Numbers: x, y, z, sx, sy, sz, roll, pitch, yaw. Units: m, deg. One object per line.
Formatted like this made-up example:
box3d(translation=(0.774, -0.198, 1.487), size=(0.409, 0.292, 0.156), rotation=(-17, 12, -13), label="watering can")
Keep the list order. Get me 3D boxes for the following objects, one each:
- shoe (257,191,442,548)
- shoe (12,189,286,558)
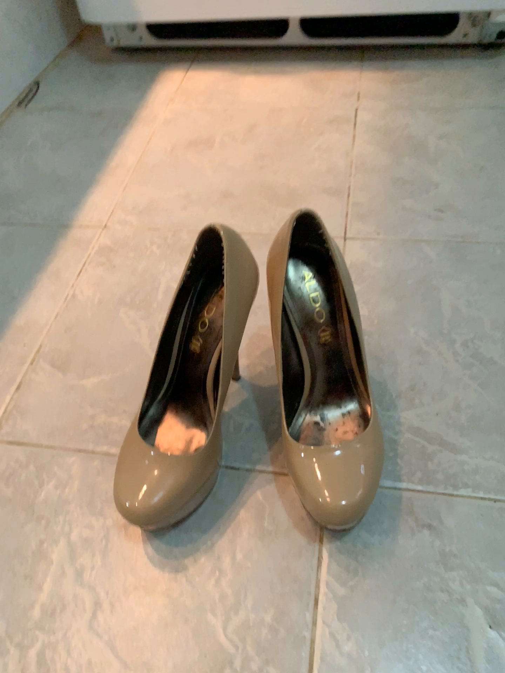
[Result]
box3d(translation=(0.057, 0.024, 0.397), size=(0.087, 0.166, 0.211), rotation=(-4, 50, 3), label="shoe")
box3d(translation=(-0.050, 0.027, 0.403), size=(0.087, 0.176, 0.211), rotation=(12, 53, 16), label="shoe")
